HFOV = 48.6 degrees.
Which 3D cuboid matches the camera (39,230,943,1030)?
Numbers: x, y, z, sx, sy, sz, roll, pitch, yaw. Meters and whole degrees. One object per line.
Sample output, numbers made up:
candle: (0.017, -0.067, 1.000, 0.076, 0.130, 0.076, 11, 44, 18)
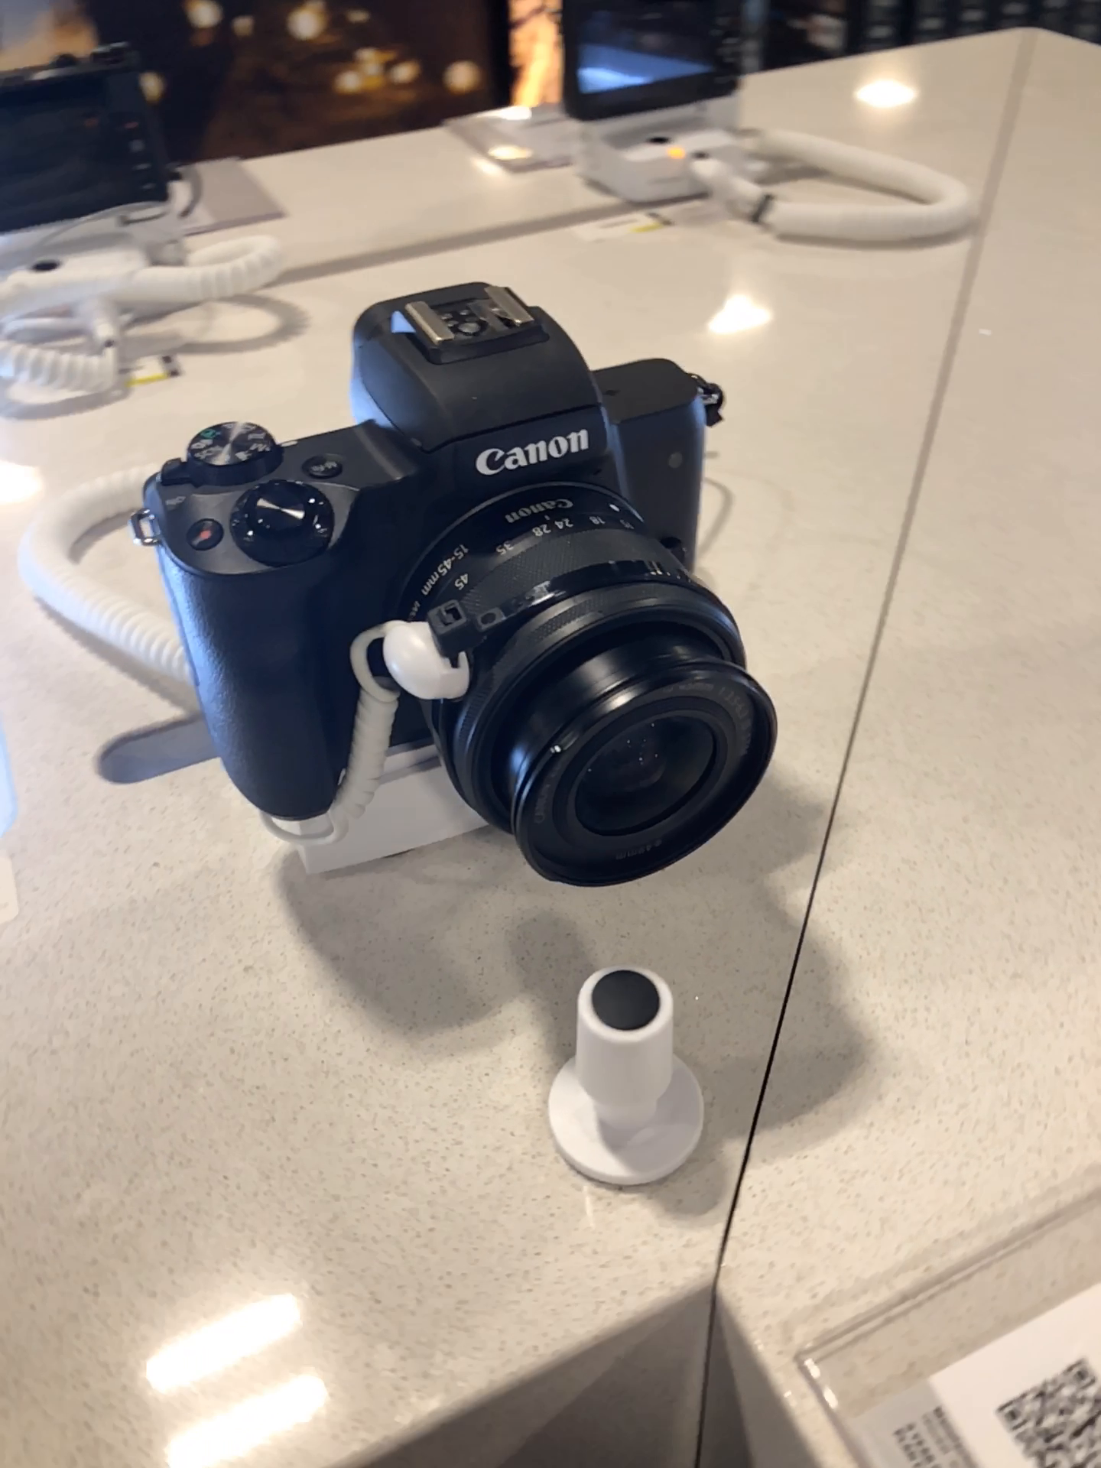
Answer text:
camera: (-0.017, -0.033, 0.251, 0.130, 0.079, 0.121, -19, 43, -17)
